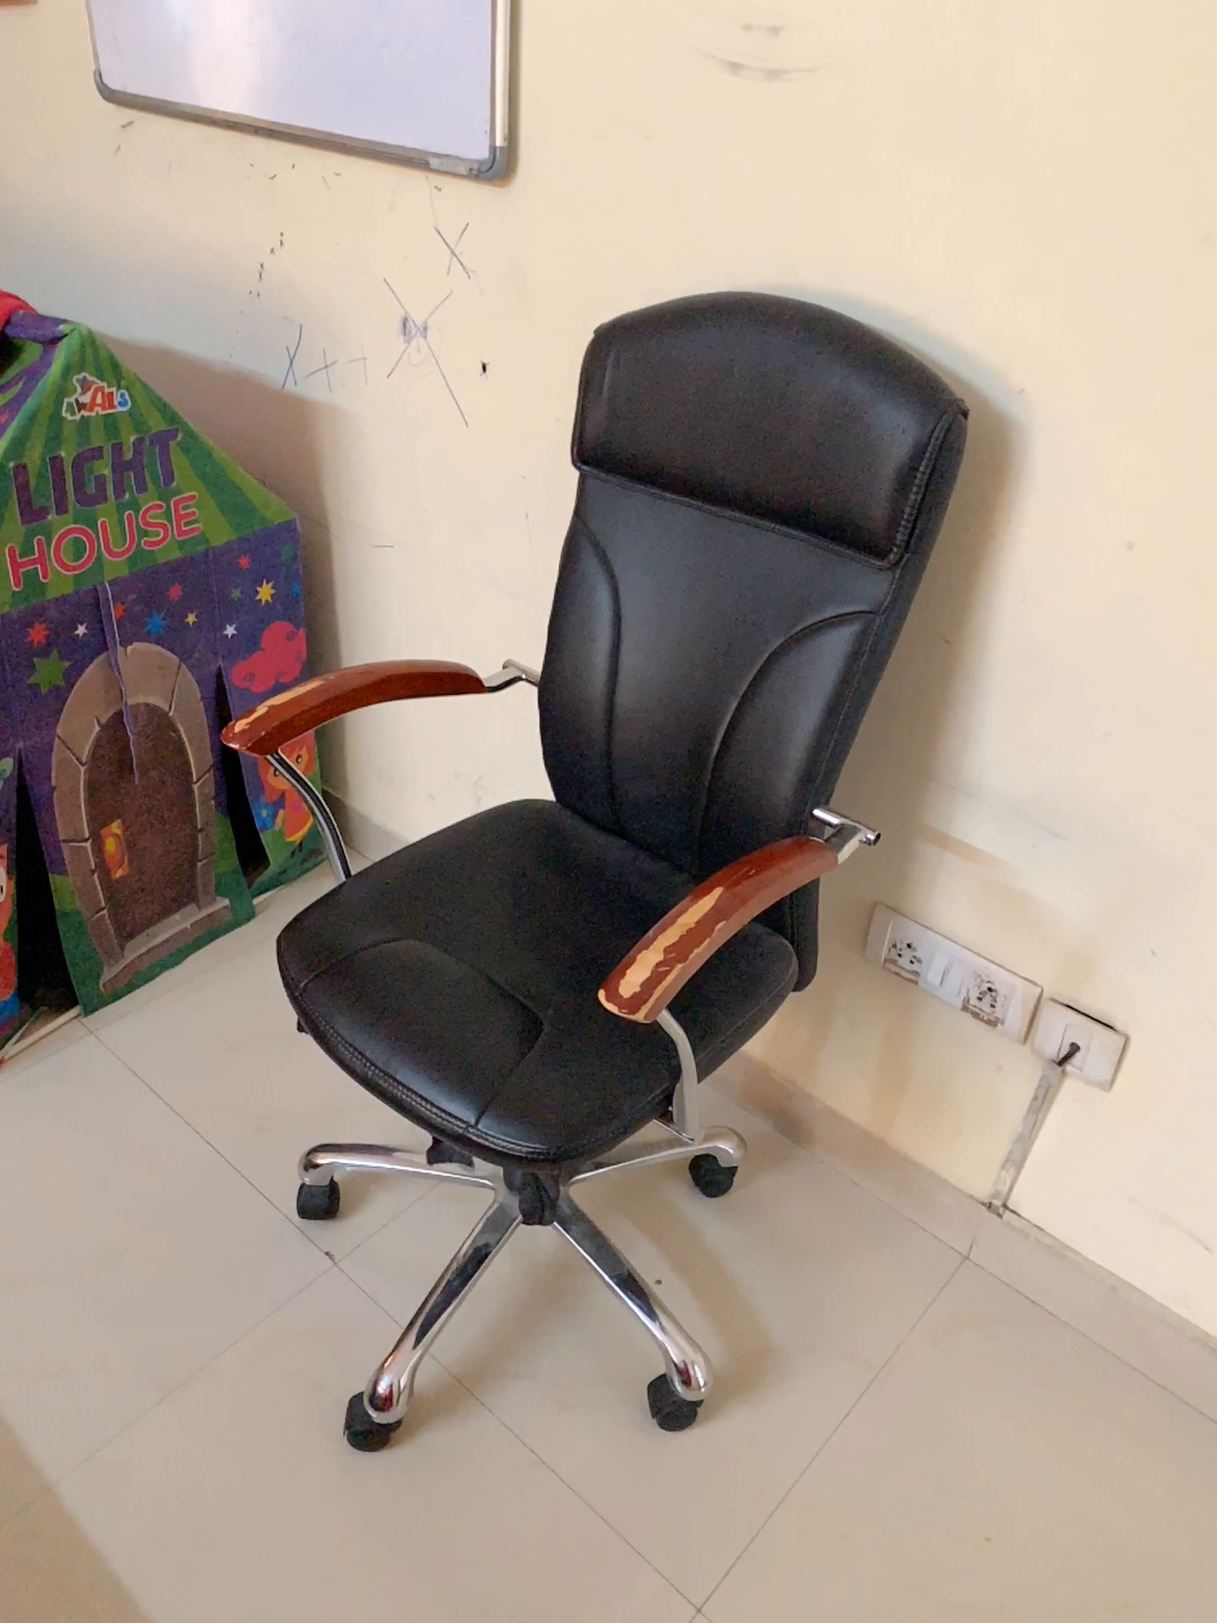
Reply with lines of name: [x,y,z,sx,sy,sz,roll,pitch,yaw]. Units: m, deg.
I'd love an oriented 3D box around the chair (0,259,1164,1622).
chair: [-0.052,0.076,1.346,0.703,1.080,0.753,29,41,33]
